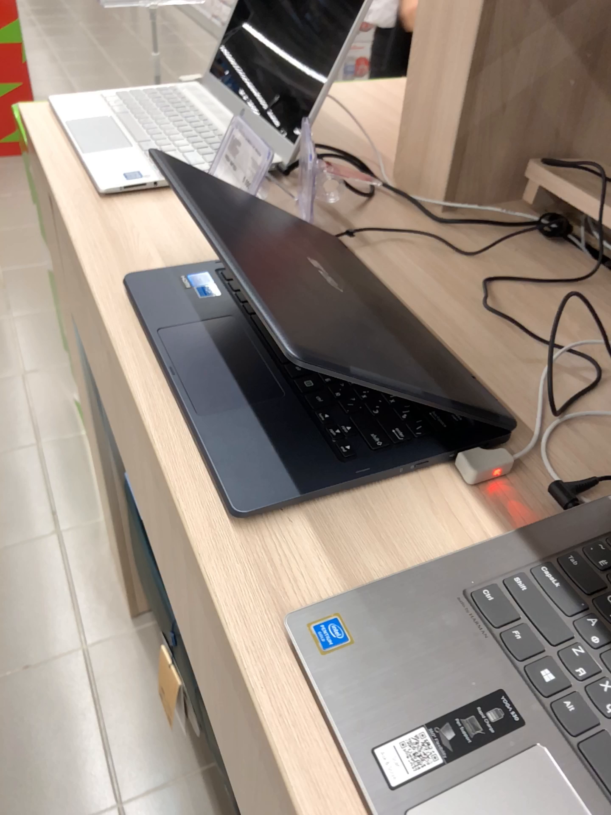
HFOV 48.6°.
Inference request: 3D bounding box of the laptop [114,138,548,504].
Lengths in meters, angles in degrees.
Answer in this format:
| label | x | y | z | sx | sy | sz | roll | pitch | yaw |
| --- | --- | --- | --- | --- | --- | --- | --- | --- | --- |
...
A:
| label | x | y | z | sx | sy | sz | roll | pitch | yaw |
| --- | --- | --- | --- | --- | --- | --- | --- | --- | --- |
| laptop | -0.006 | -0.086 | 0.474 | 0.185 | 0.097 | 0.273 | -14 | 43 | -20 |
